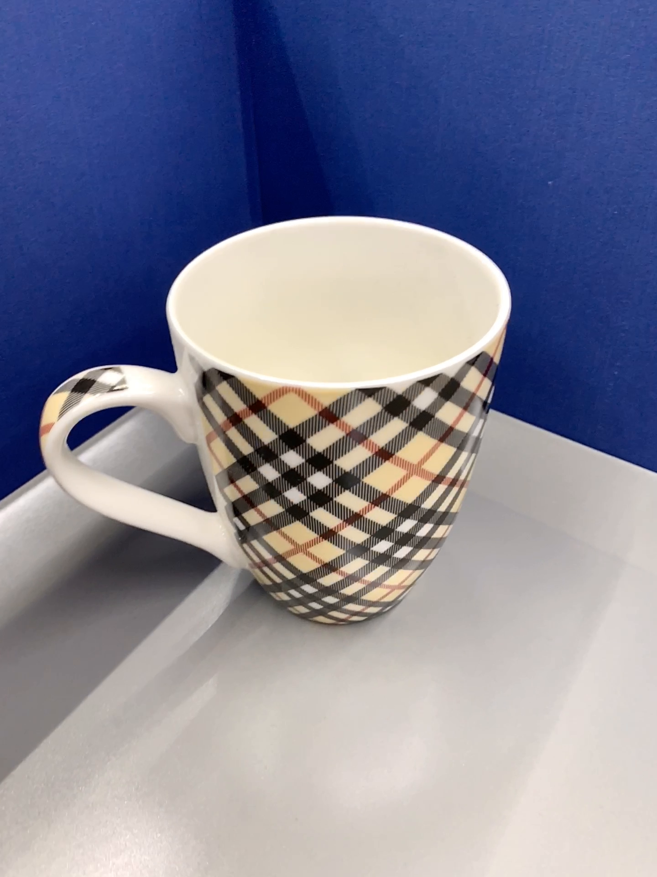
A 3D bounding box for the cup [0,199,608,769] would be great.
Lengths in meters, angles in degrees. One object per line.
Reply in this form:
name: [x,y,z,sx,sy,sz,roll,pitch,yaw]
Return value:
cup: [-0.013,0.006,0.194,0.120,0.104,0.091,-11,40,-13]
